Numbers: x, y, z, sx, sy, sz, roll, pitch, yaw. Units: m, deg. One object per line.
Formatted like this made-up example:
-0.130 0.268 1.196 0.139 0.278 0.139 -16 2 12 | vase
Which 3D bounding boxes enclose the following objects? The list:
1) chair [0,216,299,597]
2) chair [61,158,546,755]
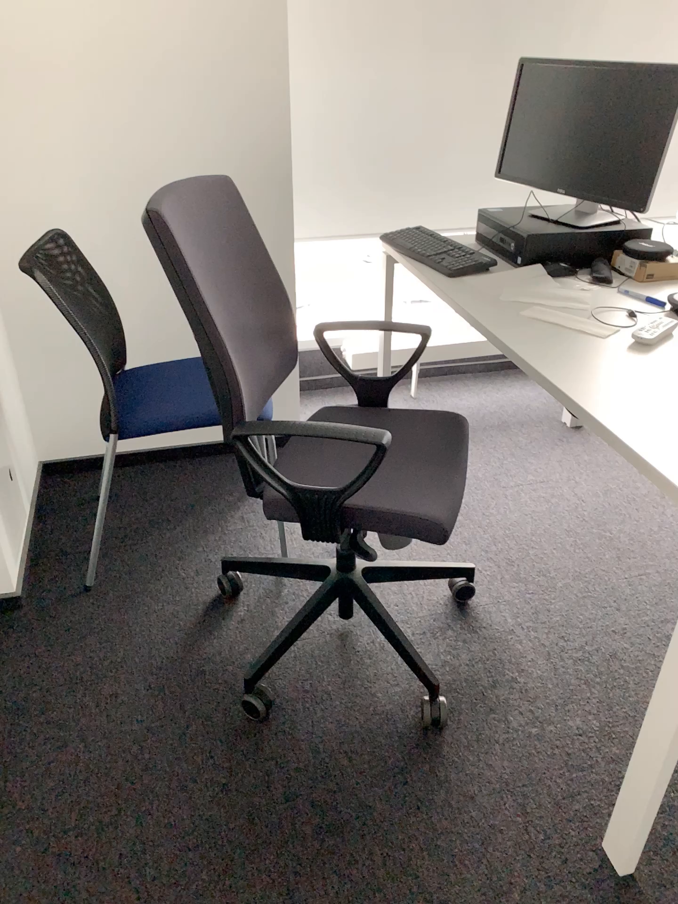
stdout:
-0.469 -0.165 1.939 0.610 0.805 0.674 -5 31 -9 | chair
-0.005 -0.032 1.490 0.680 1.004 0.694 6 31 9 | chair
